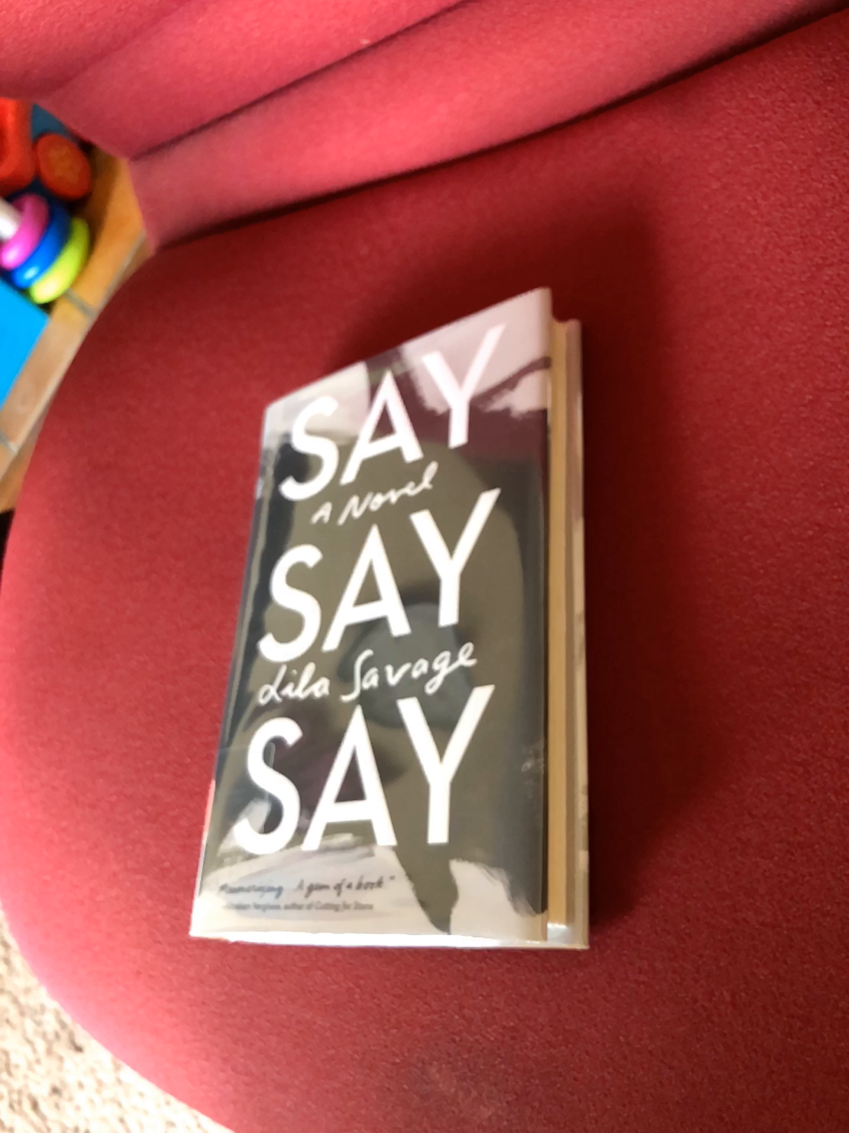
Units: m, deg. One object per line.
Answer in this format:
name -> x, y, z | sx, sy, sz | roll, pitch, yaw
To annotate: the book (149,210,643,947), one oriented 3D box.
book -> -0.015, 0.010, 0.314 | 0.151, 0.040, 0.210 | -14, 66, 34
